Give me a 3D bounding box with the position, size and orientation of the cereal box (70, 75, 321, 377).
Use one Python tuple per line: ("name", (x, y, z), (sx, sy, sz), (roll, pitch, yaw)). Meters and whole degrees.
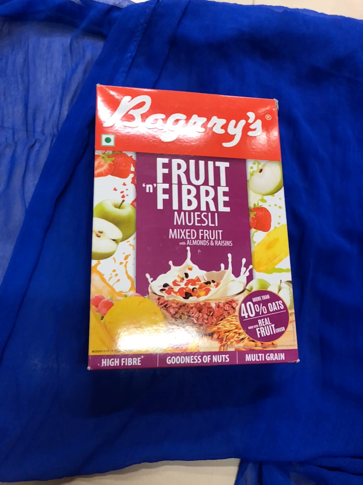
("cereal box", (0.007, -0.013, 0.379), (0.200, 0.080, 0.250), (1, 77, -10))
